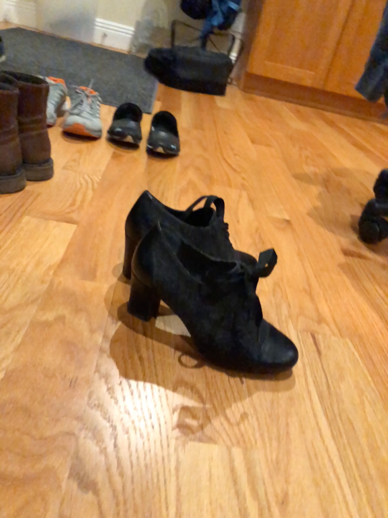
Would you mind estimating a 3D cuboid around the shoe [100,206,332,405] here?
[{"bbox_3d":[0.022,0.046,0.483,0.223,0.125,0.094,20,29,10],"label":"shoe"}]

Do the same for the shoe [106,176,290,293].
[{"bbox_3d":[0.000,-0.030,0.605,0.223,0.125,0.088,2,31,-21],"label":"shoe"}]
